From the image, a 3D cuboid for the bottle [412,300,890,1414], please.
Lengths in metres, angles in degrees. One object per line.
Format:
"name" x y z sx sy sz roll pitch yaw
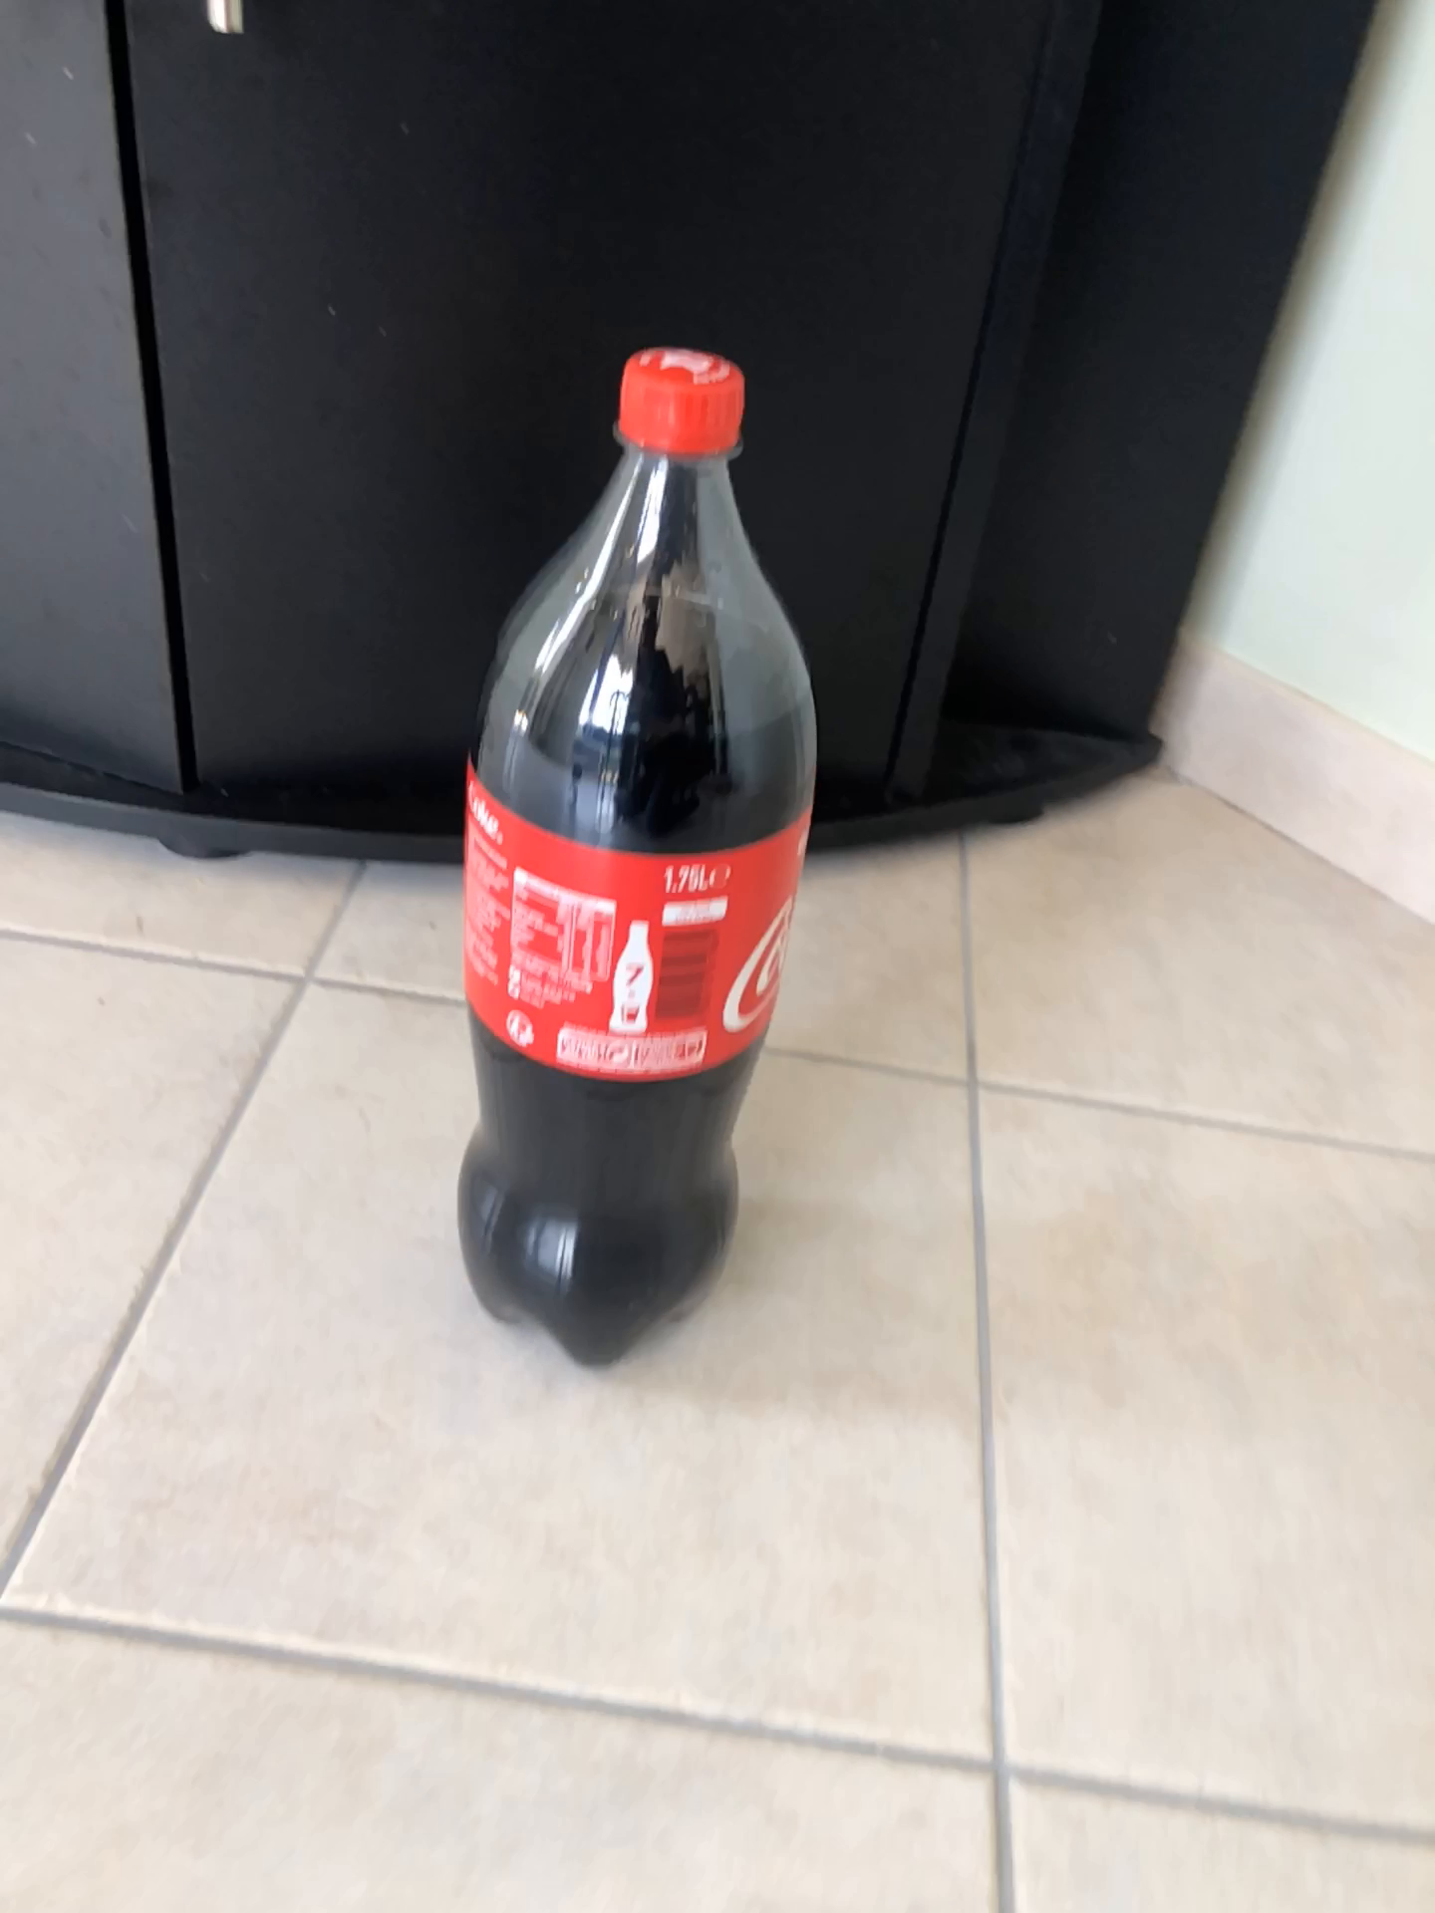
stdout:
"bottle" -0.028 -0.011 0.465 0.100 0.308 0.111 7 37 -2
